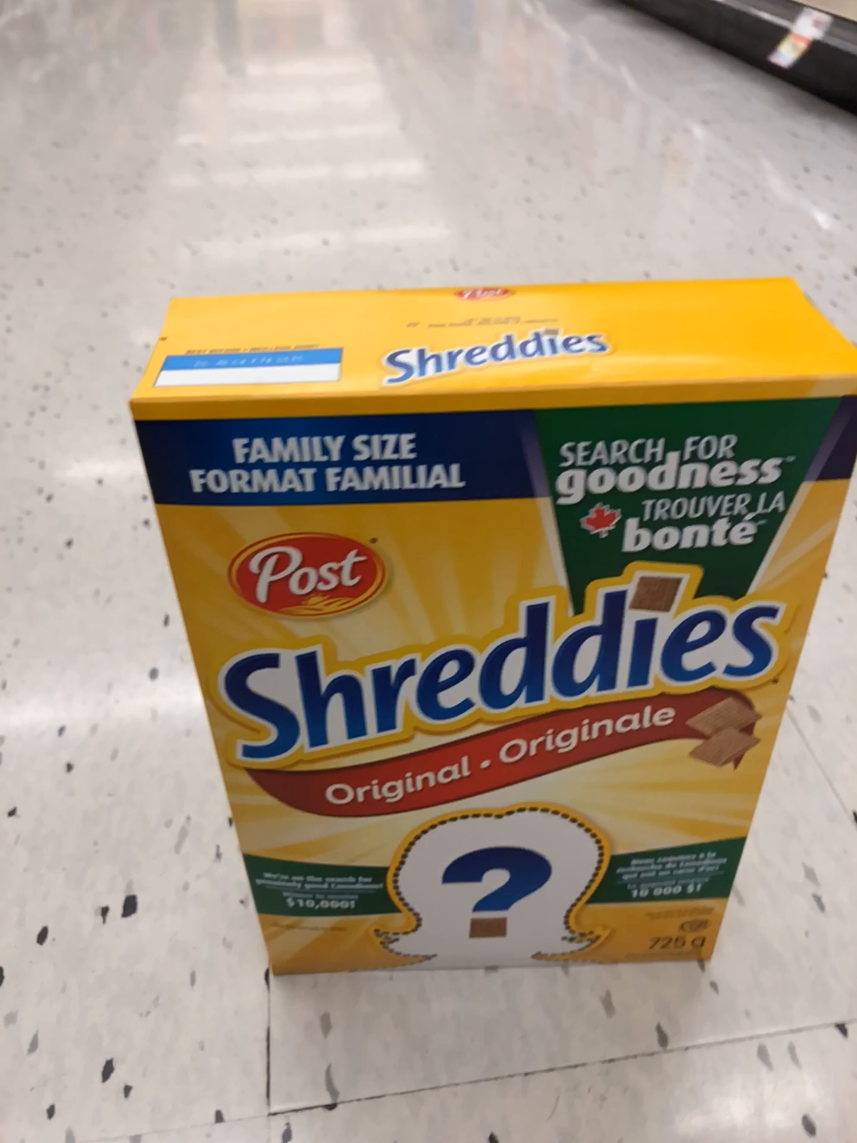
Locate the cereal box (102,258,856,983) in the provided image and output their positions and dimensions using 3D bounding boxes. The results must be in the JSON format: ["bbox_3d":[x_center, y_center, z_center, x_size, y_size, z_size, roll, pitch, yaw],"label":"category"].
[{"bbox_3d":[0.023,0.048,0.379,0.210,0.318,0.070,-2,41,-1],"label":"cereal box"}]
